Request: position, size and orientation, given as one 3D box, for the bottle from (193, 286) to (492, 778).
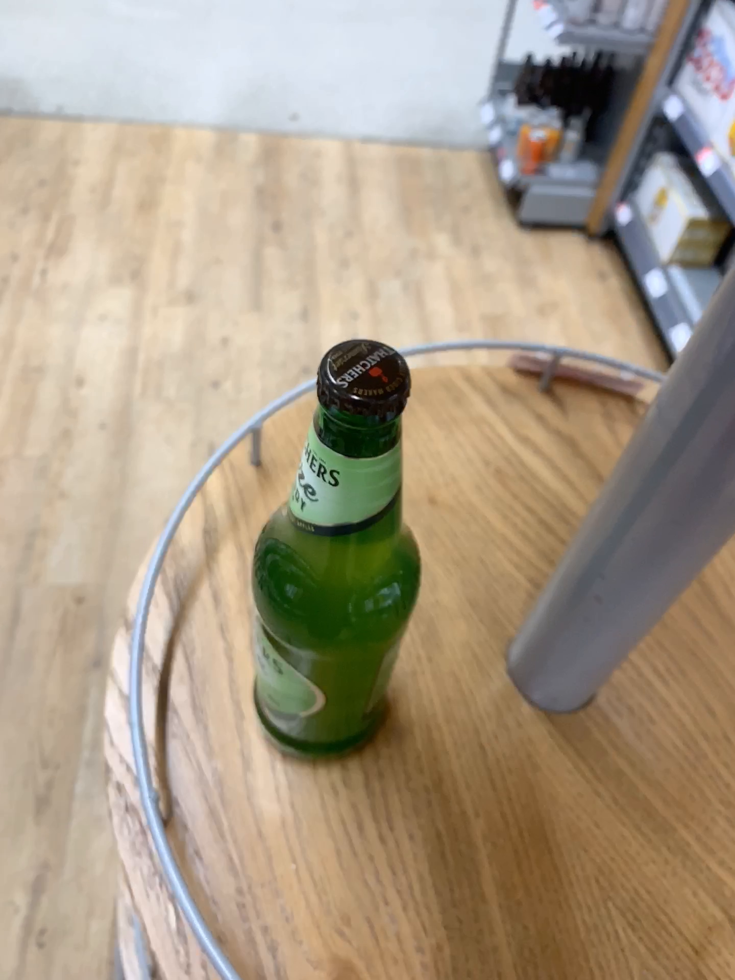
[{"bbox_3d":[-0.016,0.041,0.320,0.078,0.240,0.070,10,52,-1],"label":"bottle"}]
